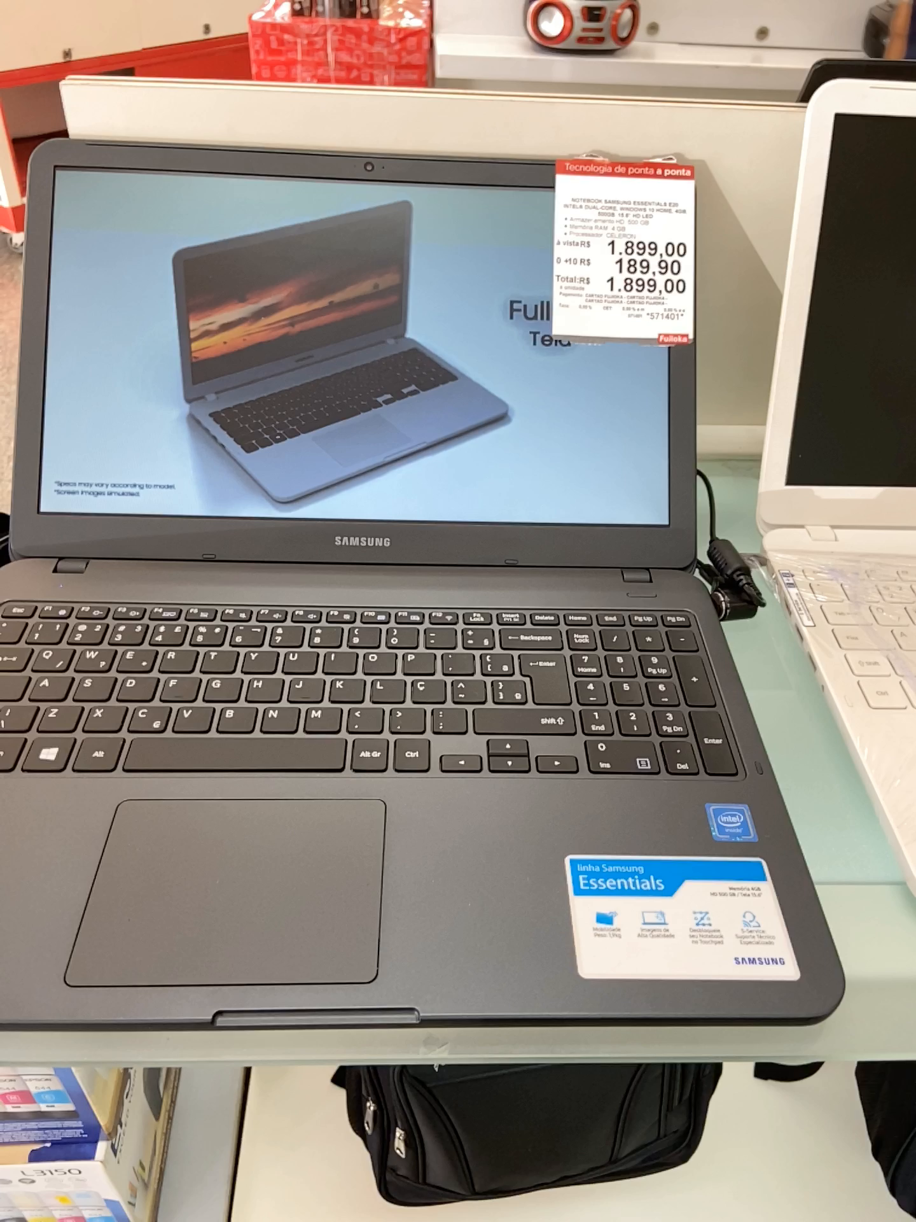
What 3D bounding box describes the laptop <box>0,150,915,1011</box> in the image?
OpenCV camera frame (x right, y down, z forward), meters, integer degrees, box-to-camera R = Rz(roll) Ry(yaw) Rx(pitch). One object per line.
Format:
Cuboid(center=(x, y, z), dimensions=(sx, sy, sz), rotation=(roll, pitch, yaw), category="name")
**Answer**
Cuboid(center=(-0.049, -0.061, 0.429), dimensions=(0.367, 0.157, 0.414), rotation=(1, 41, -2), category="laptop")
